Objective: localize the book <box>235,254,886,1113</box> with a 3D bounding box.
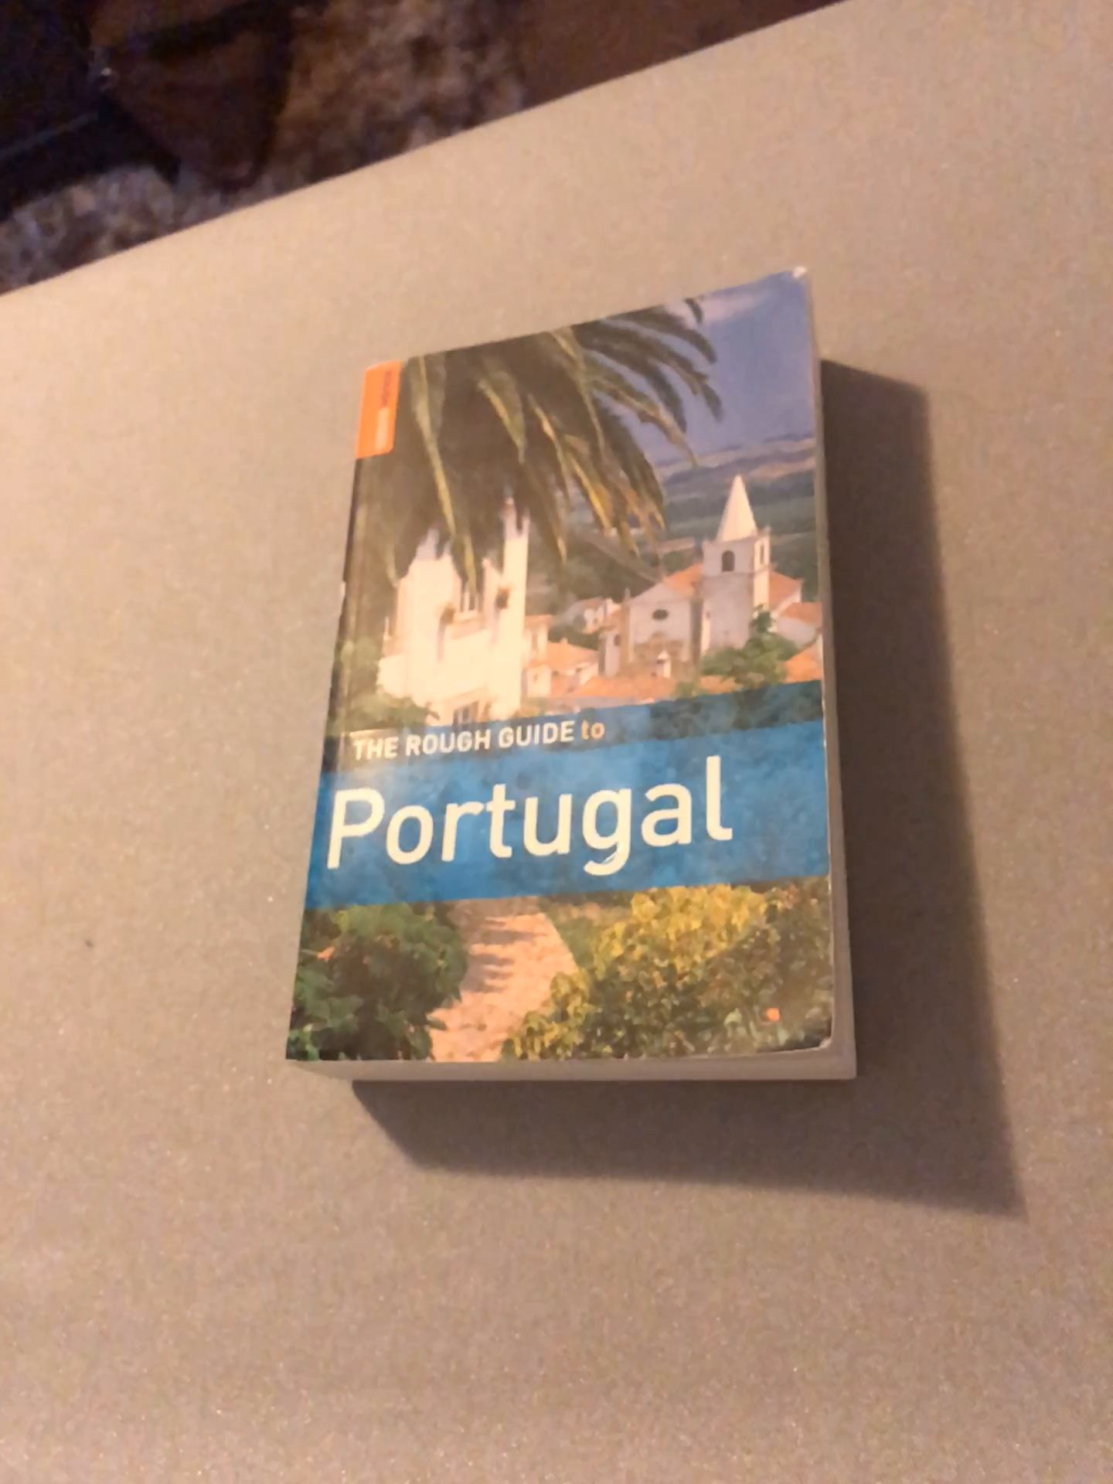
[{"bbox_3d":[0.004,-0.015,0.316,0.139,0.040,0.204,-6,66,20],"label":"book"}]
